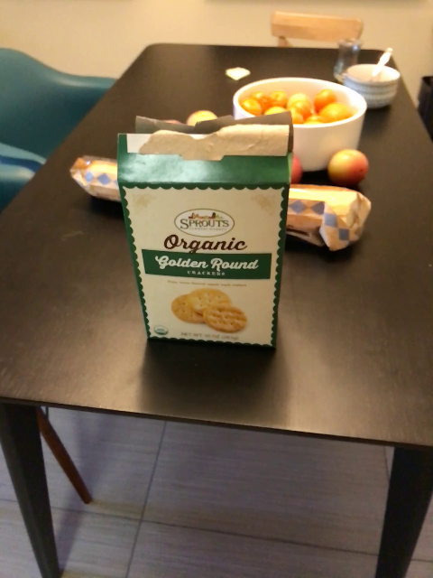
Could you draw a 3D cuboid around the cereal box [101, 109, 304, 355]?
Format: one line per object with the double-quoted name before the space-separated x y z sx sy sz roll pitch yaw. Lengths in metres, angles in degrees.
"cereal box" -0.007 -0.050 0.503 0.170 0.248 0.081 4 41 5
